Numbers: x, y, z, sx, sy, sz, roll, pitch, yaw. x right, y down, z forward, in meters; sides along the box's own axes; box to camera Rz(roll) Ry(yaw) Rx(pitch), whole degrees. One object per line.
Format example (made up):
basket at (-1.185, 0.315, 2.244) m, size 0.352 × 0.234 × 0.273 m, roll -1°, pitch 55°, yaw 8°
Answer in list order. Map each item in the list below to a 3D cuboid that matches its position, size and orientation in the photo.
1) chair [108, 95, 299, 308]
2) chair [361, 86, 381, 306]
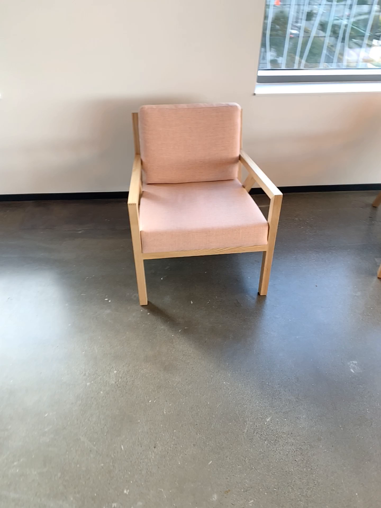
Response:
chair at (0.022, -0.296, 2.053) m, size 0.740 × 0.795 × 0.775 m, roll -3°, pitch 40°, yaw -4°
chair at (1.444, -0.345, 2.091) m, size 0.741 × 0.795 × 0.774 m, roll 11°, pitch 40°, yaw 12°
